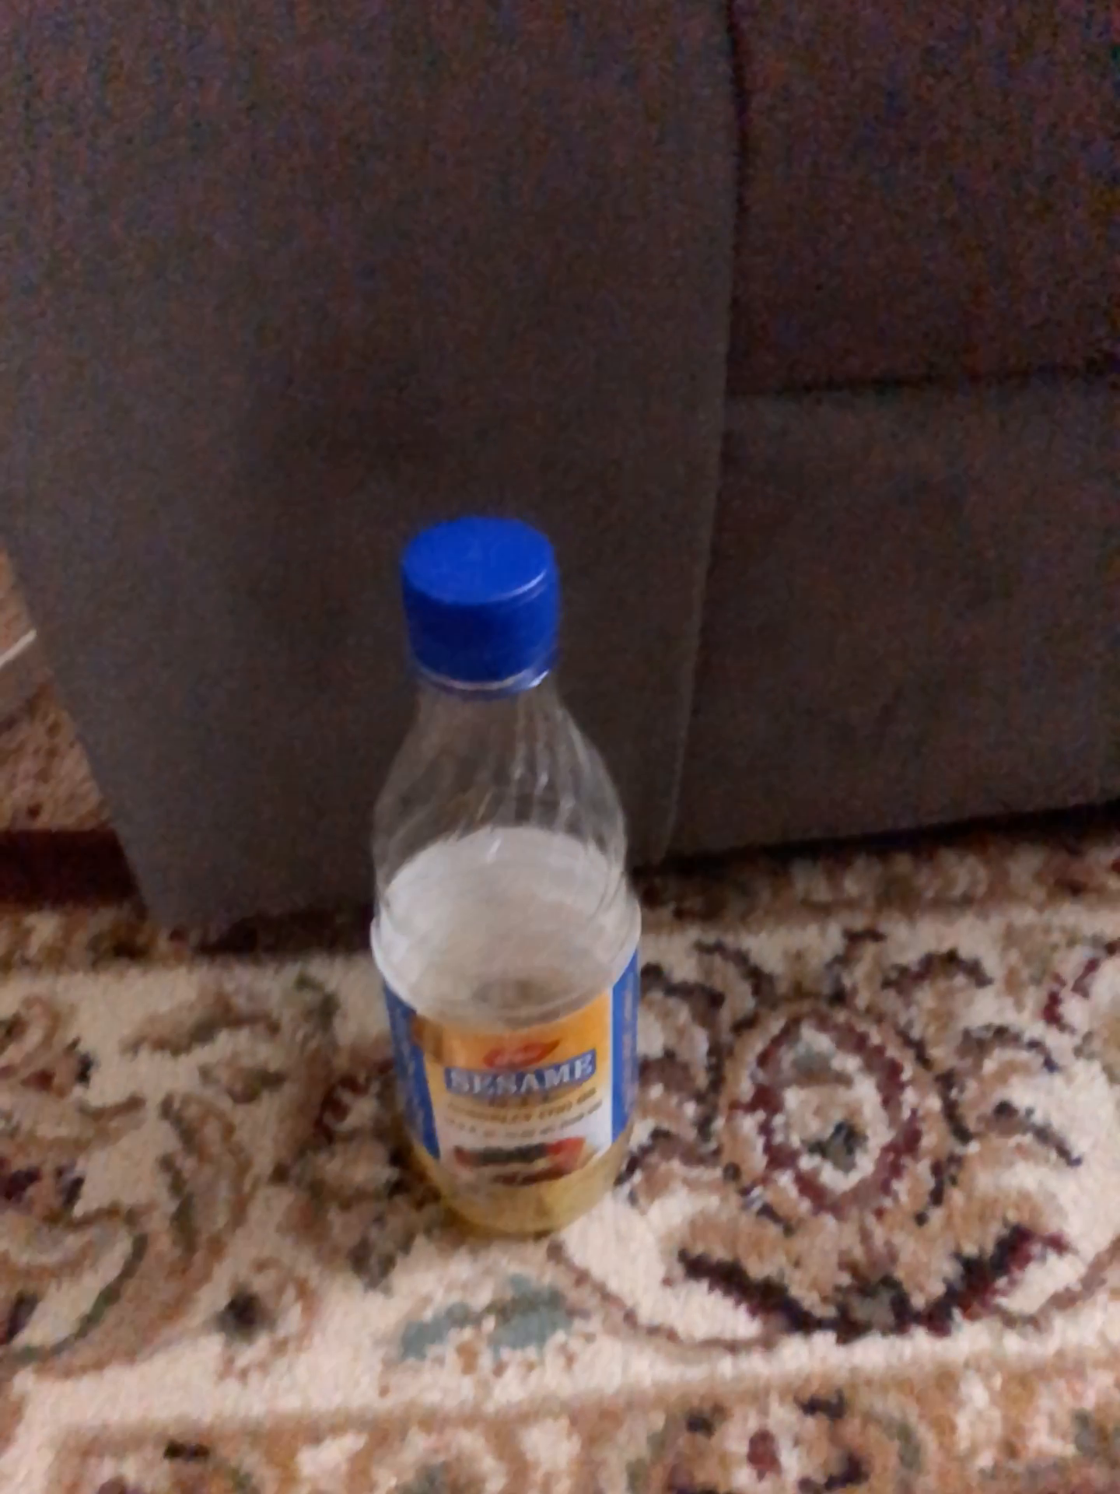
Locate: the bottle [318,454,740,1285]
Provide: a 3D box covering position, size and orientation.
[{"bbox_3d":[-0.003,0.041,0.296,0.070,0.200,0.070,-2,40,2],"label":"bottle"}]
